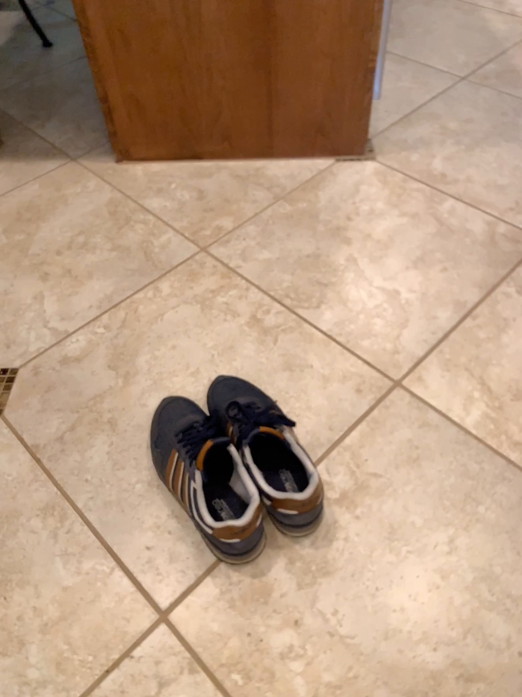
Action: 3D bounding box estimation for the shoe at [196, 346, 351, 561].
[{"bbox_3d":[0.009,0.144,0.801,0.106,0.102,0.283,-21,53,-14],"label":"shoe"}]

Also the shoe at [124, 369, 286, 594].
[{"bbox_3d":[-0.085,0.180,0.779,0.112,0.102,0.283,-25,54,-16],"label":"shoe"}]
